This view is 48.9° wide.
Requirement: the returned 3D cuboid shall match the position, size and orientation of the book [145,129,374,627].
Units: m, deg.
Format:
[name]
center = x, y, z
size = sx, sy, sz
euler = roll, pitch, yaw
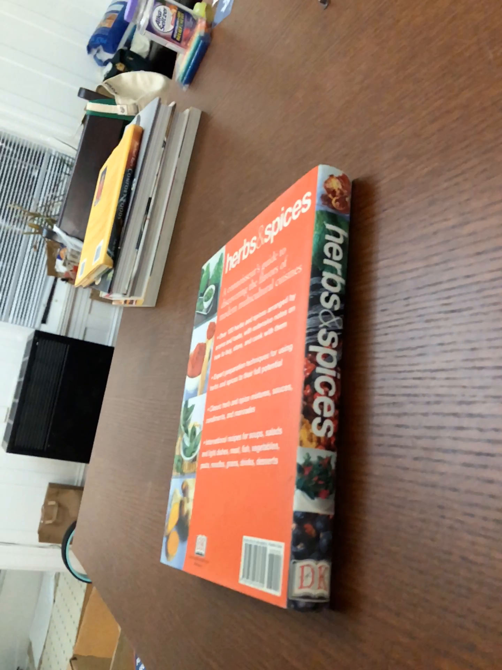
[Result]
[book]
center = -0.003, 0.031, 0.391
size = 0.211, 0.040, 0.270
euler = -26, 54, 60
